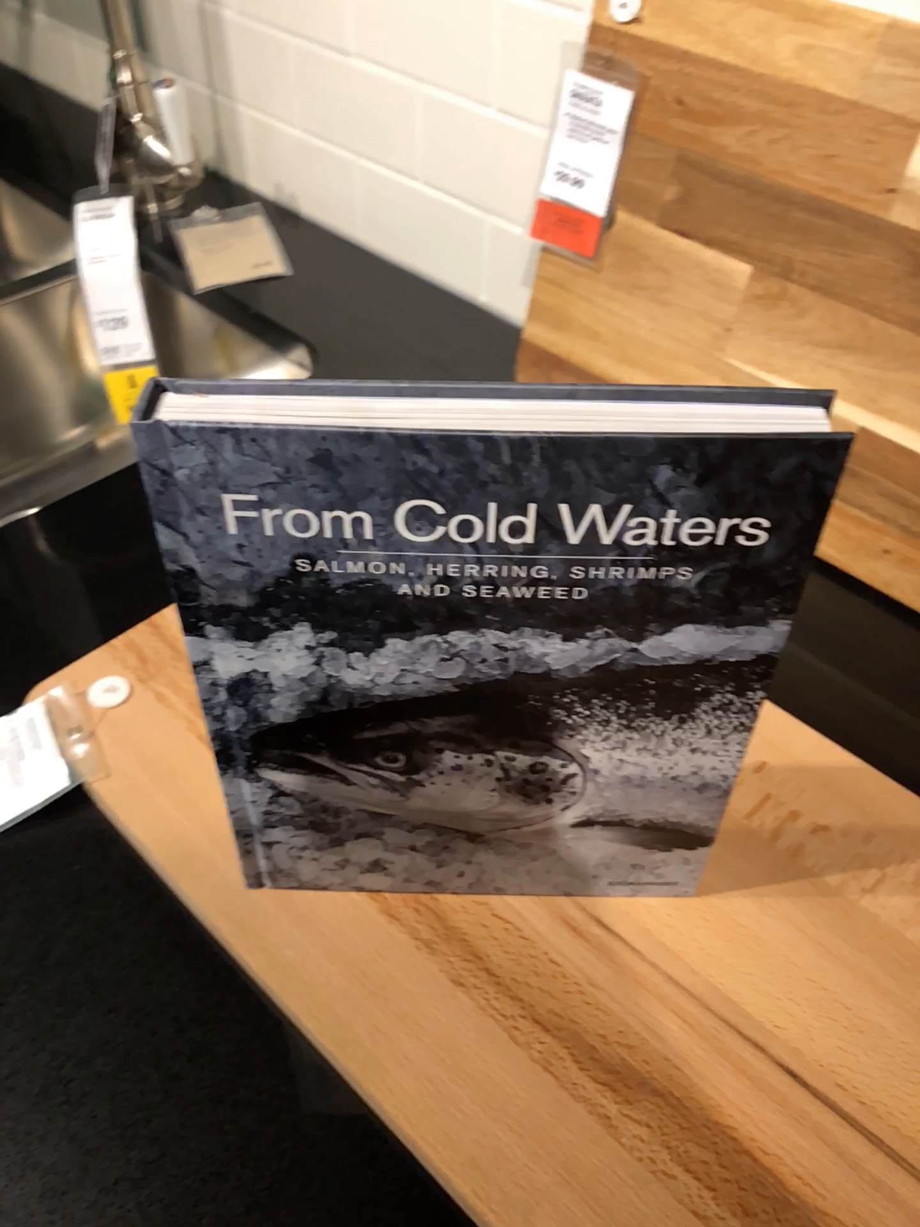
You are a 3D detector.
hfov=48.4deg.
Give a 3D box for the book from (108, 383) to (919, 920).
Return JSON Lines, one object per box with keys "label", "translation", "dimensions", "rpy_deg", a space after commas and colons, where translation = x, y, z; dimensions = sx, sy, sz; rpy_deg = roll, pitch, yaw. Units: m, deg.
{"label": "book", "translation": [0.018, 0.030, 0.338], "dimensions": [0.213, 0.219, 0.029], "rpy_deg": [1, 44, 0]}
